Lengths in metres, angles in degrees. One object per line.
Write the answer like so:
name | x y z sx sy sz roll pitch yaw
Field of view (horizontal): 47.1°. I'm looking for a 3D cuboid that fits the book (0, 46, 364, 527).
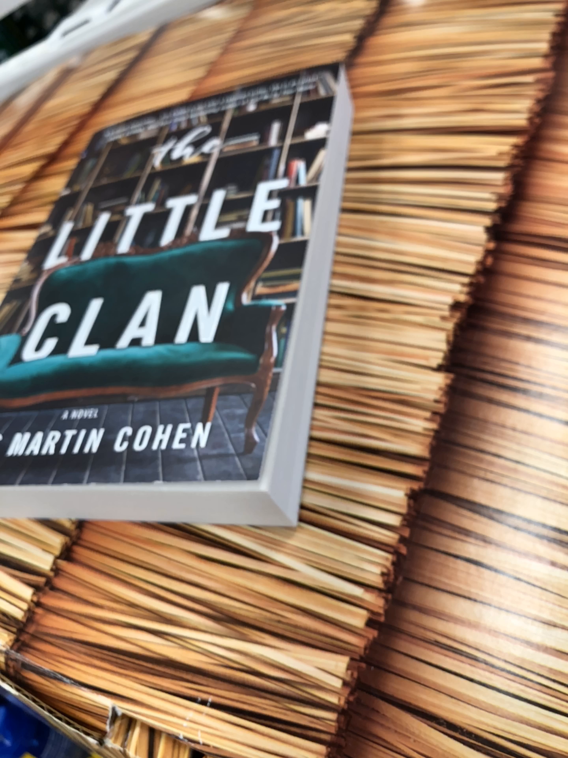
book | -0.048 -0.042 0.237 0.130 0.030 0.190 -5 51 23
